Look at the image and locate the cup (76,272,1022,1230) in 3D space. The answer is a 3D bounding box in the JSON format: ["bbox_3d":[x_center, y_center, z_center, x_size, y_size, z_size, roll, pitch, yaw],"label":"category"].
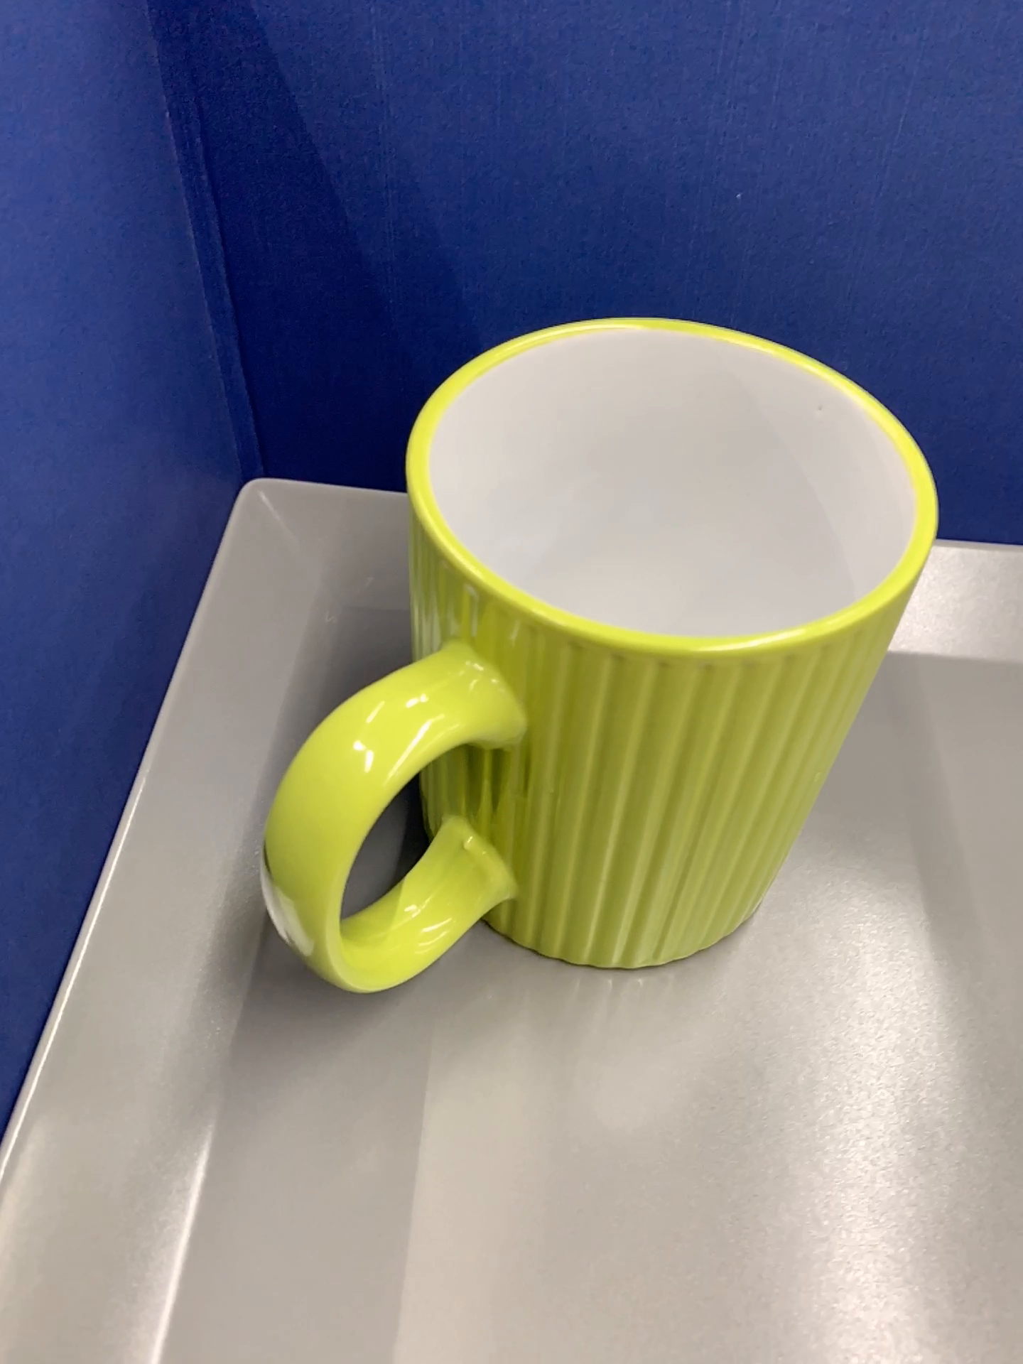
[{"bbox_3d":[0.012,0.005,0.203,0.091,0.098,0.129,36,56,27],"label":"cup"}]
